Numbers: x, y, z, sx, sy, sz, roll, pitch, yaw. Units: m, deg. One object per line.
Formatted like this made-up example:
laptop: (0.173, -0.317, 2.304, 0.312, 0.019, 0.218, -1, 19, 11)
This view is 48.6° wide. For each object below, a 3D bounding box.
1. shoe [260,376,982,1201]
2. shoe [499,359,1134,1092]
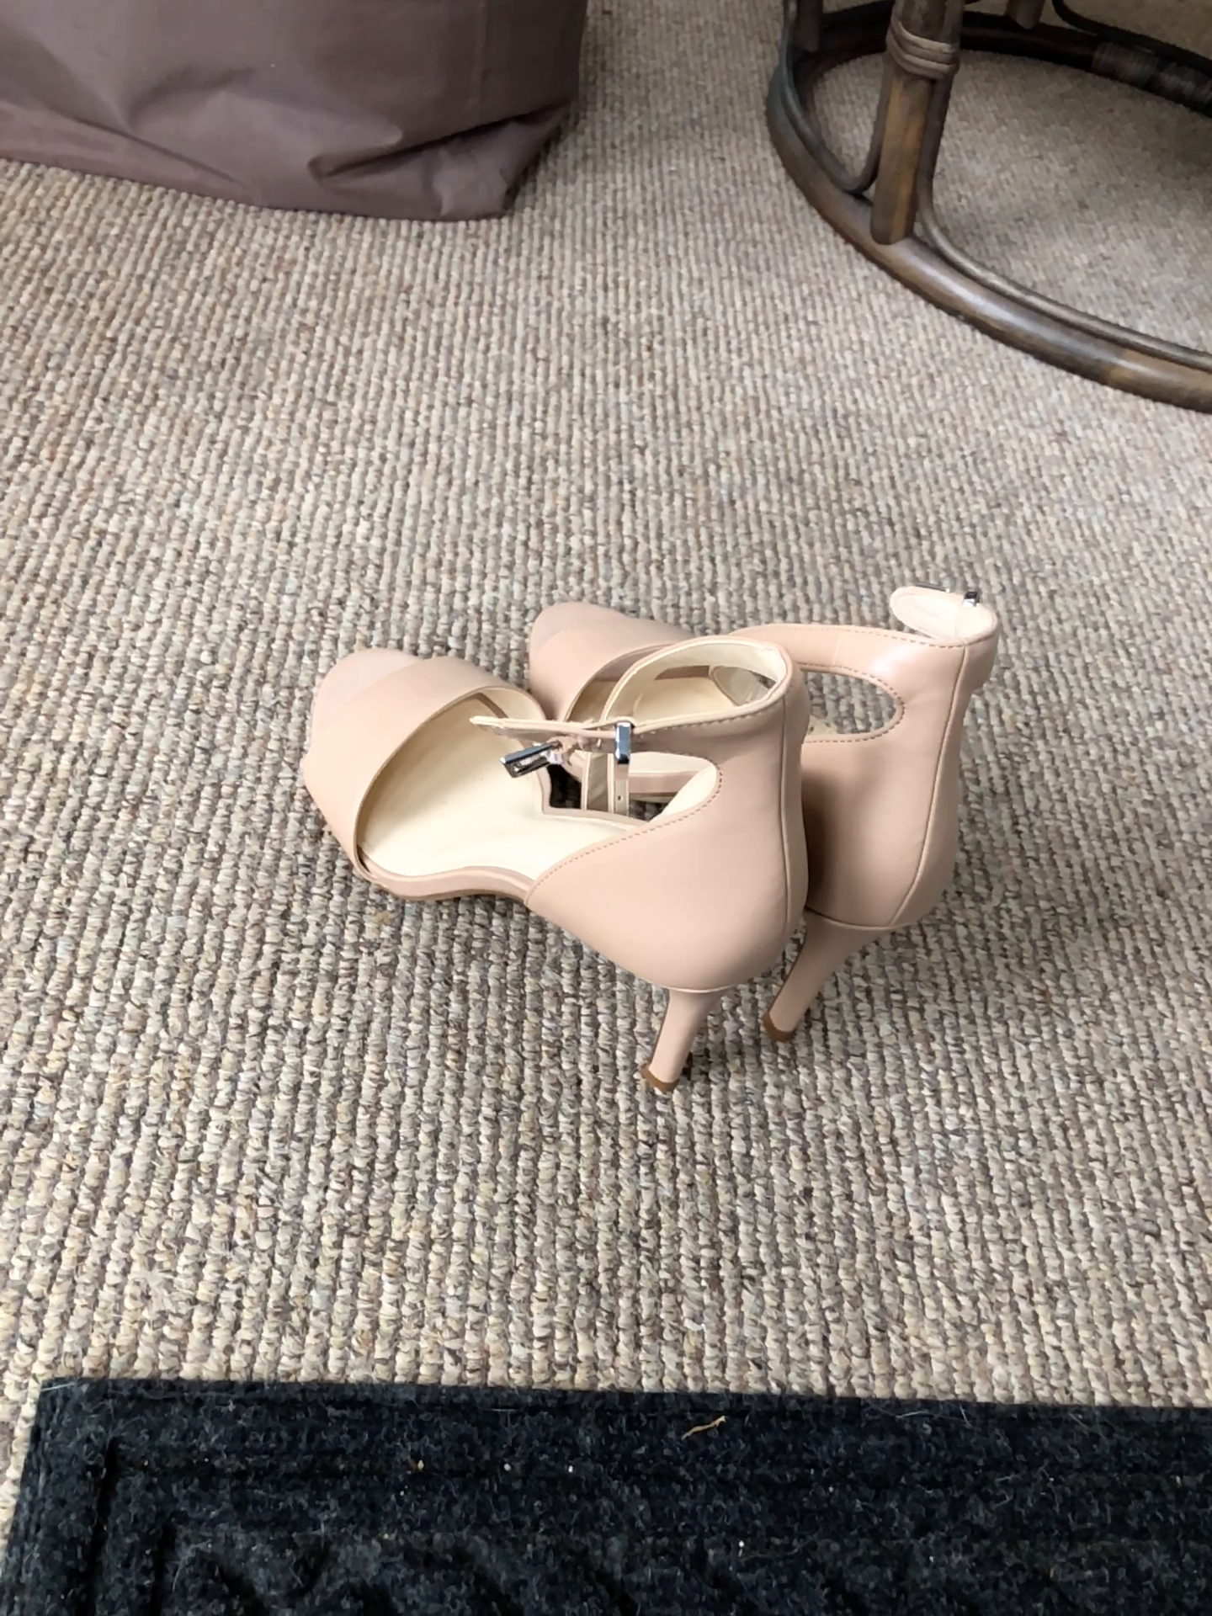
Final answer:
shoe: (-0.014, -0.013, 0.439, 0.106, 0.144, 0.207, -22, 59, -32)
shoe: (0.055, -0.036, 0.490, 0.099, 0.154, 0.207, -10, 54, -25)
